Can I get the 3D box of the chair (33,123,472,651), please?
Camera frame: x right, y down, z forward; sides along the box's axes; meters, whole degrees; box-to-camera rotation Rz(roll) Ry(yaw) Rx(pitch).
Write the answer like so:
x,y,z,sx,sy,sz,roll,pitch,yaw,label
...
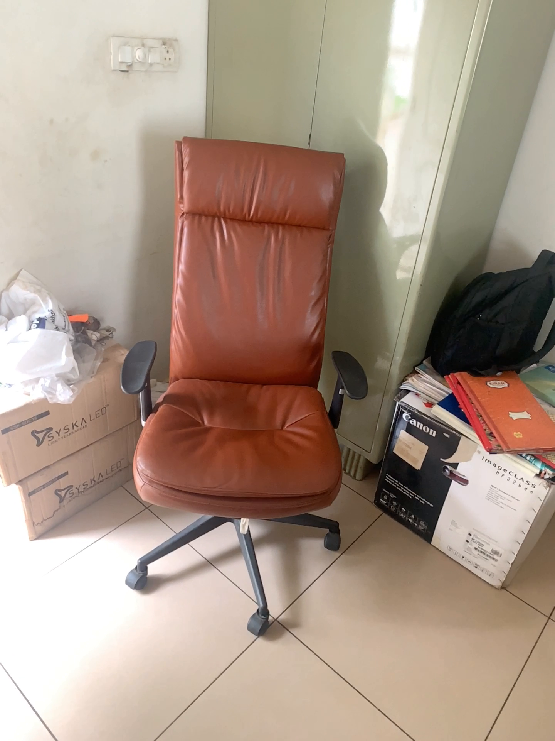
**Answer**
x,y,z,sx,sy,sz,roll,pitch,yaw,label
-0.090,0.012,1.571,0.690,1.085,0.934,4,33,-4,chair
